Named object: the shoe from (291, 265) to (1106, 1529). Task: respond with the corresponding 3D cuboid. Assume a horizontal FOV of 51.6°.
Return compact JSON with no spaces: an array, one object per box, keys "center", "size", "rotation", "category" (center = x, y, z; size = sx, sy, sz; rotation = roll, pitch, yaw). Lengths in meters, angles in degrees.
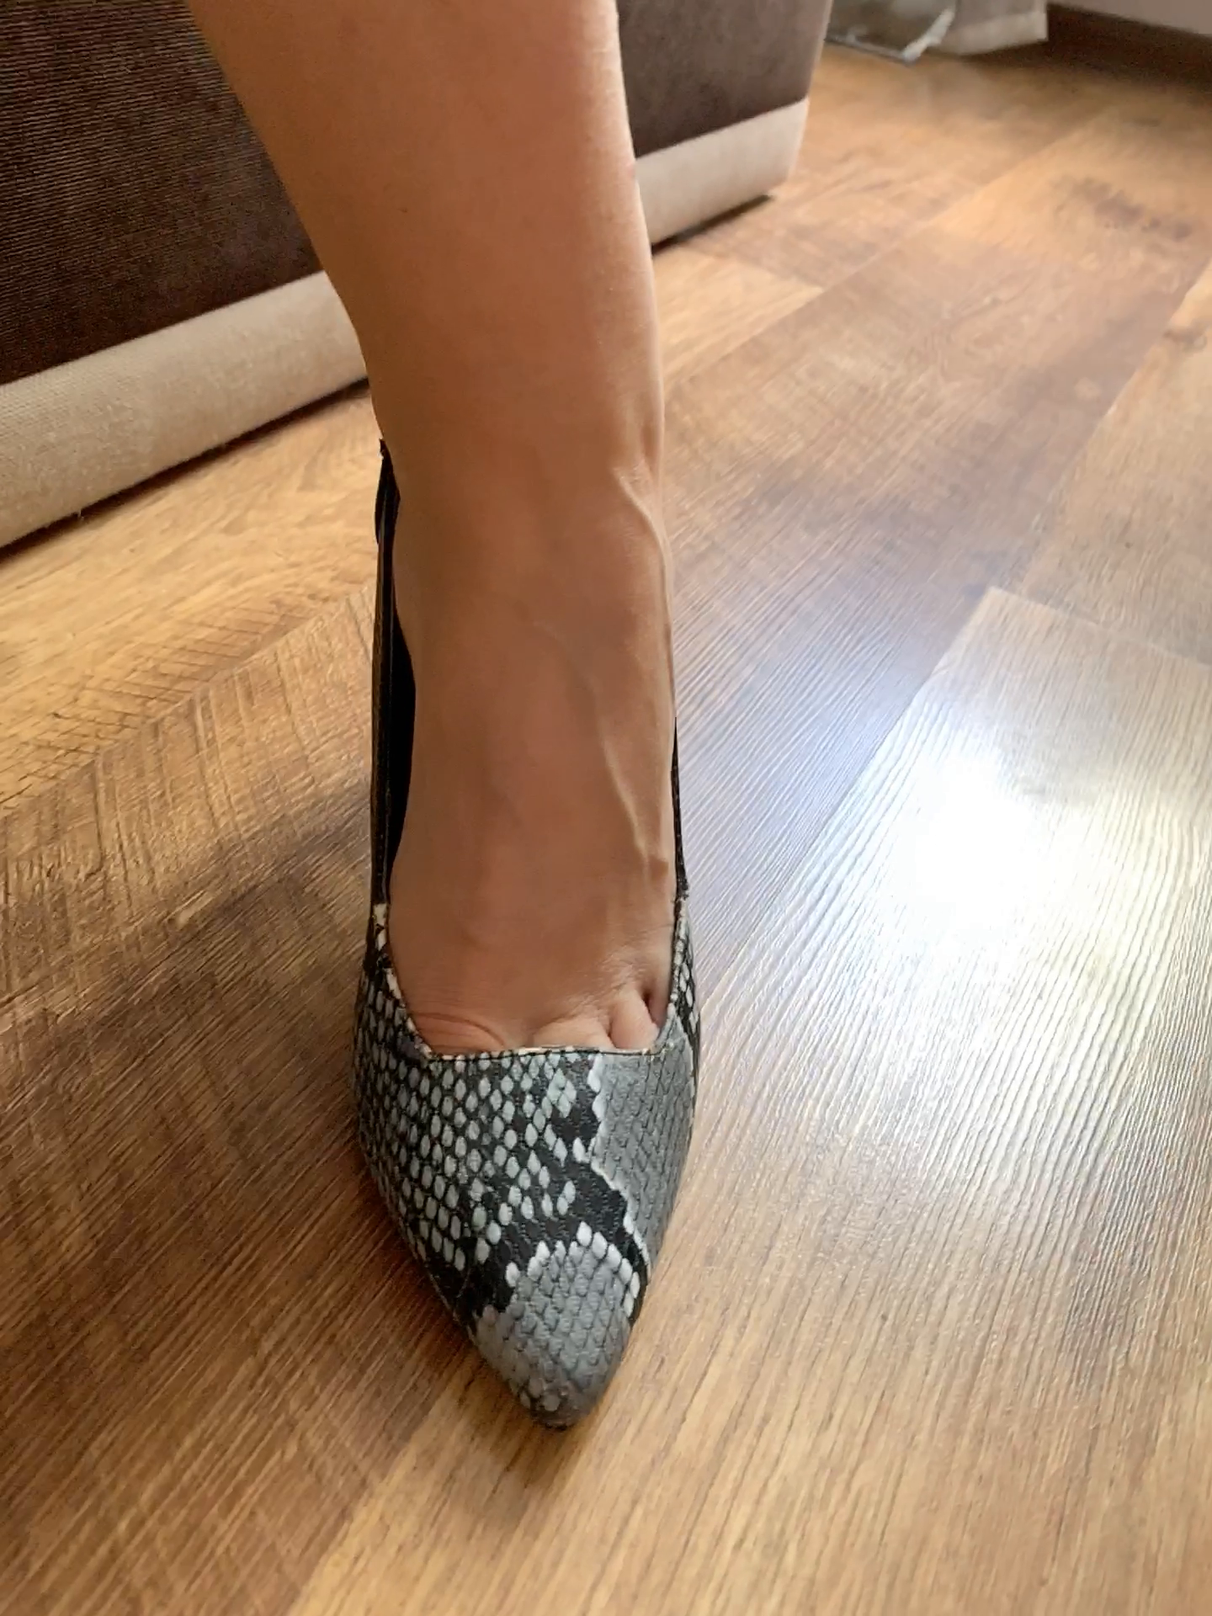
[{"center":[-0.016,-0.012,0.263],"size":[0.090,0.109,0.251],"rotation":[-2,41,-13],"category":"shoe"}]
